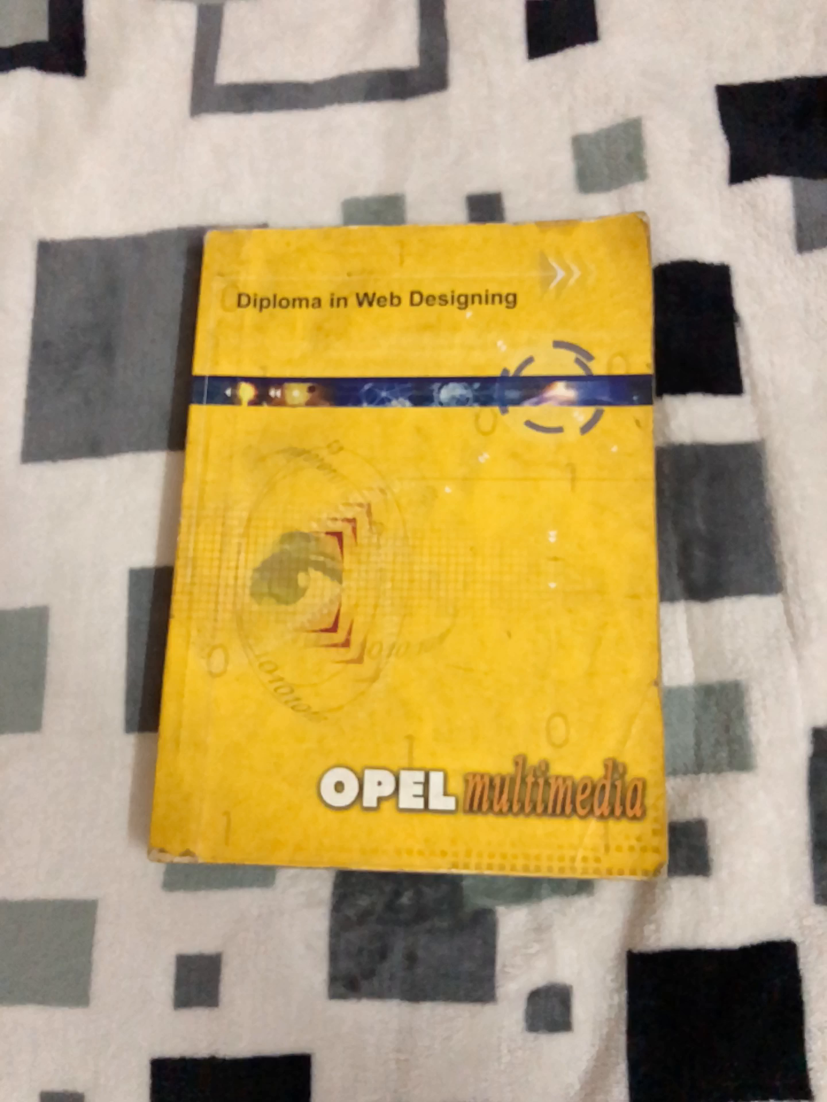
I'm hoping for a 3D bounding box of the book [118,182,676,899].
[{"bbox_3d":[-0.001,-0.012,0.432,0.220,0.070,0.310,1,76,7],"label":"book"}]
